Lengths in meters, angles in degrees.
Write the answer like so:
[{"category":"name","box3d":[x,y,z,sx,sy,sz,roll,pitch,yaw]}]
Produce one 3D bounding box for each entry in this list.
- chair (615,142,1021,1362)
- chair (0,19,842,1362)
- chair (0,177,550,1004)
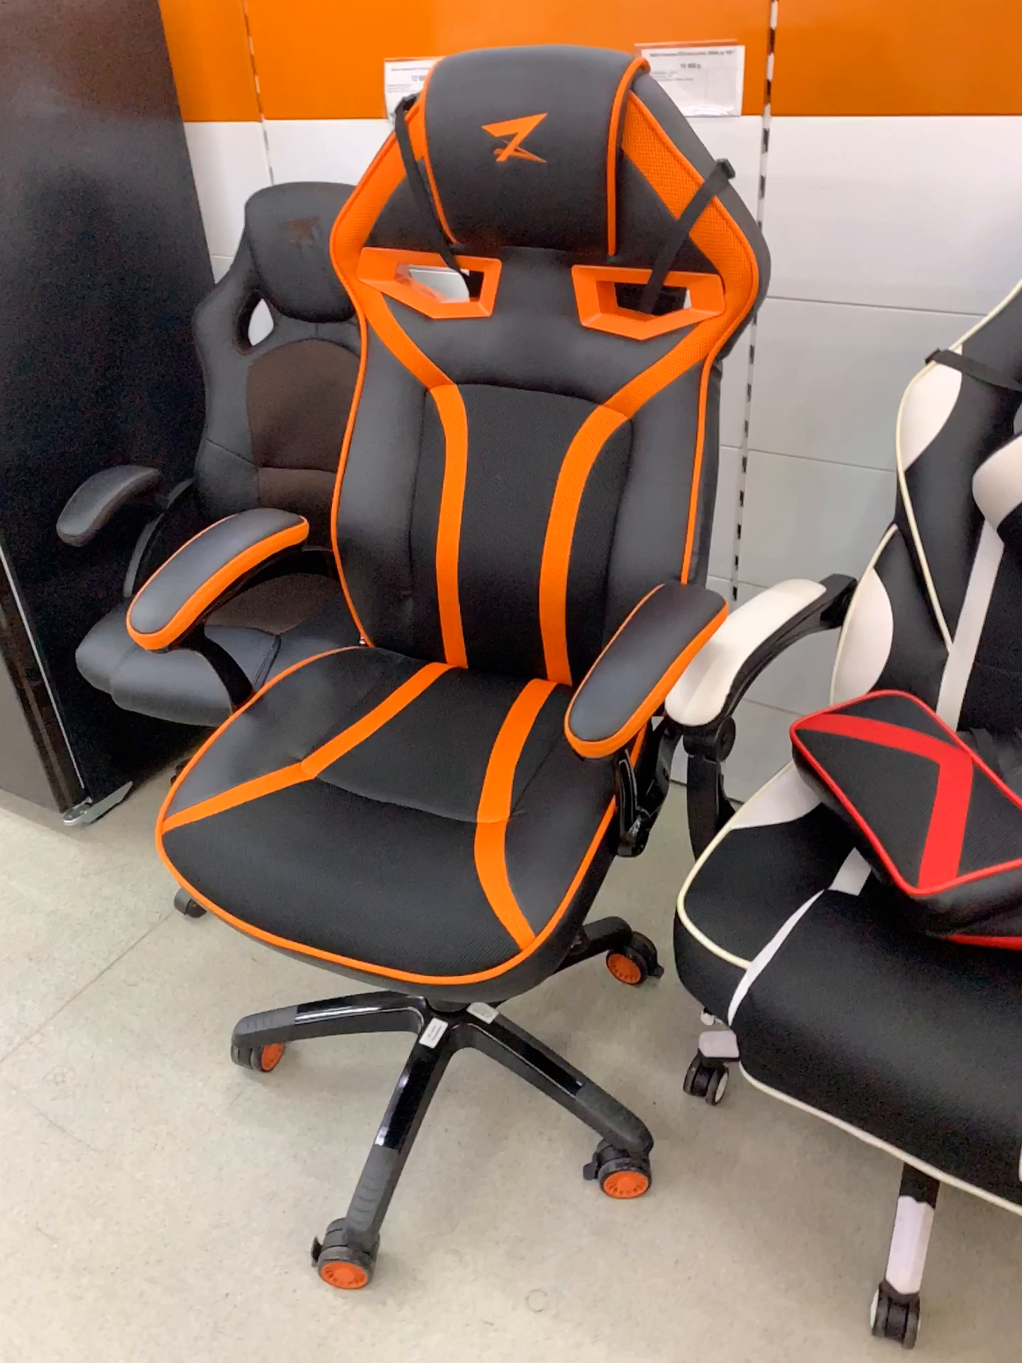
[{"category":"chair","box3d":[0.672,0.106,1.199,0.851,1.193,0.824,12,36,24]},{"category":"chair","box3d":[-0.140,0.016,1.255,0.721,1.312,0.733,15,37,28]},{"category":"chair","box3d":[-0.474,-0.209,2.054,0.821,1.322,0.724,12,36,24]}]
